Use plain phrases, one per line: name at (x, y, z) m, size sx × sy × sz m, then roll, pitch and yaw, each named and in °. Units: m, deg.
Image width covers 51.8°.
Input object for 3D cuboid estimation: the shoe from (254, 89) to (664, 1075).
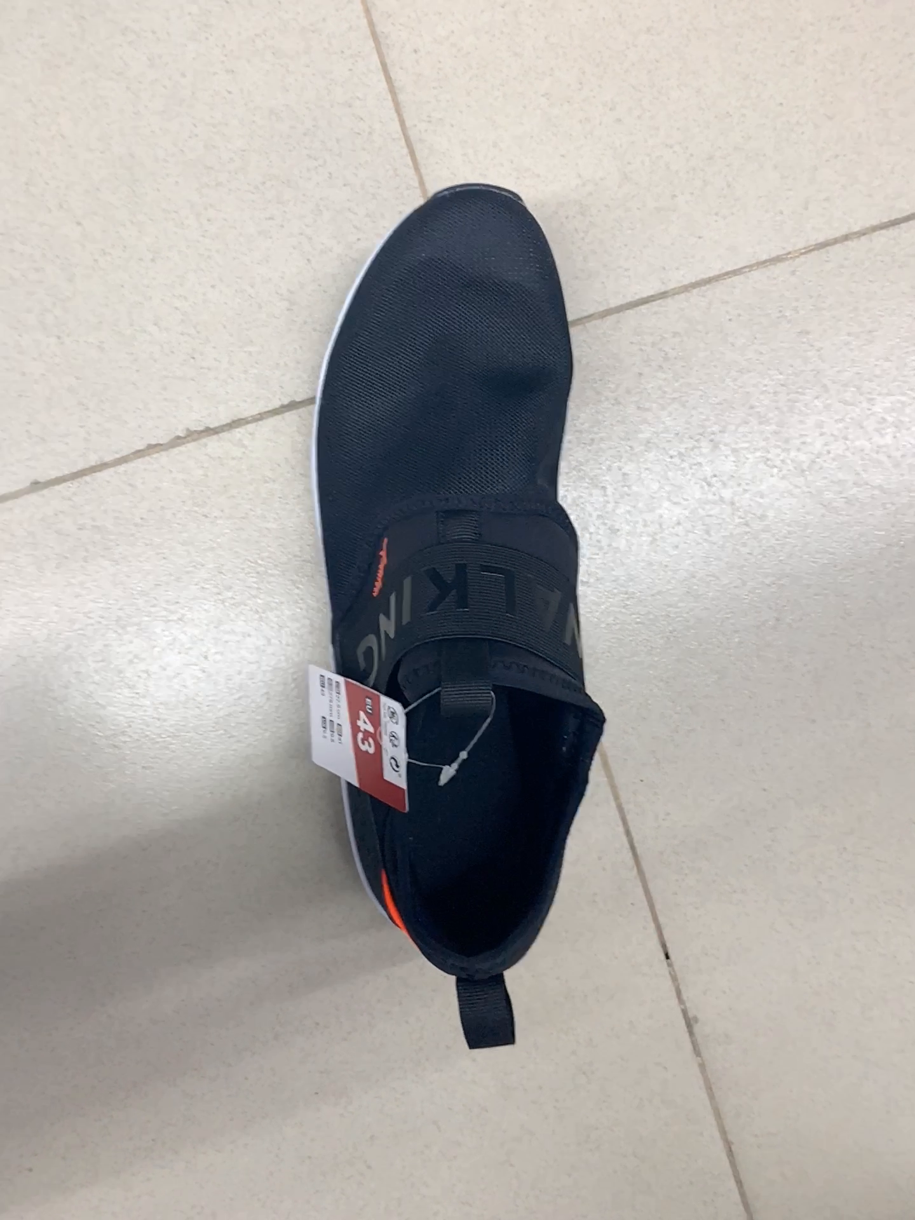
shoe at (0.000, -0.008, 0.331) m, size 0.110 × 0.120 × 0.280 m, roll -2°, pitch 92°, yaw -3°
